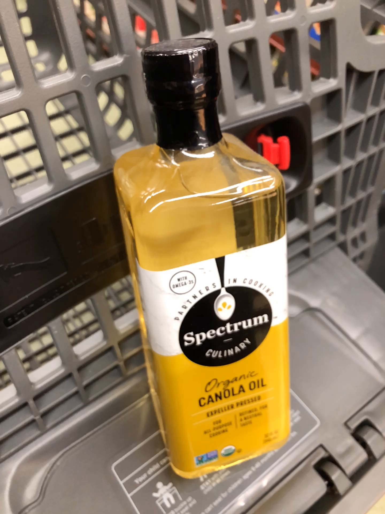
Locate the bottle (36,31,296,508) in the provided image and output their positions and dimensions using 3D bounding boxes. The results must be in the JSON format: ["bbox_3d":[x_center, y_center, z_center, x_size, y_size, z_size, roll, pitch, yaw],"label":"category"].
[{"bbox_3d":[-0.004,0.019,0.251,0.090,0.250,0.090,-6,33,4],"label":"bottle"}]
